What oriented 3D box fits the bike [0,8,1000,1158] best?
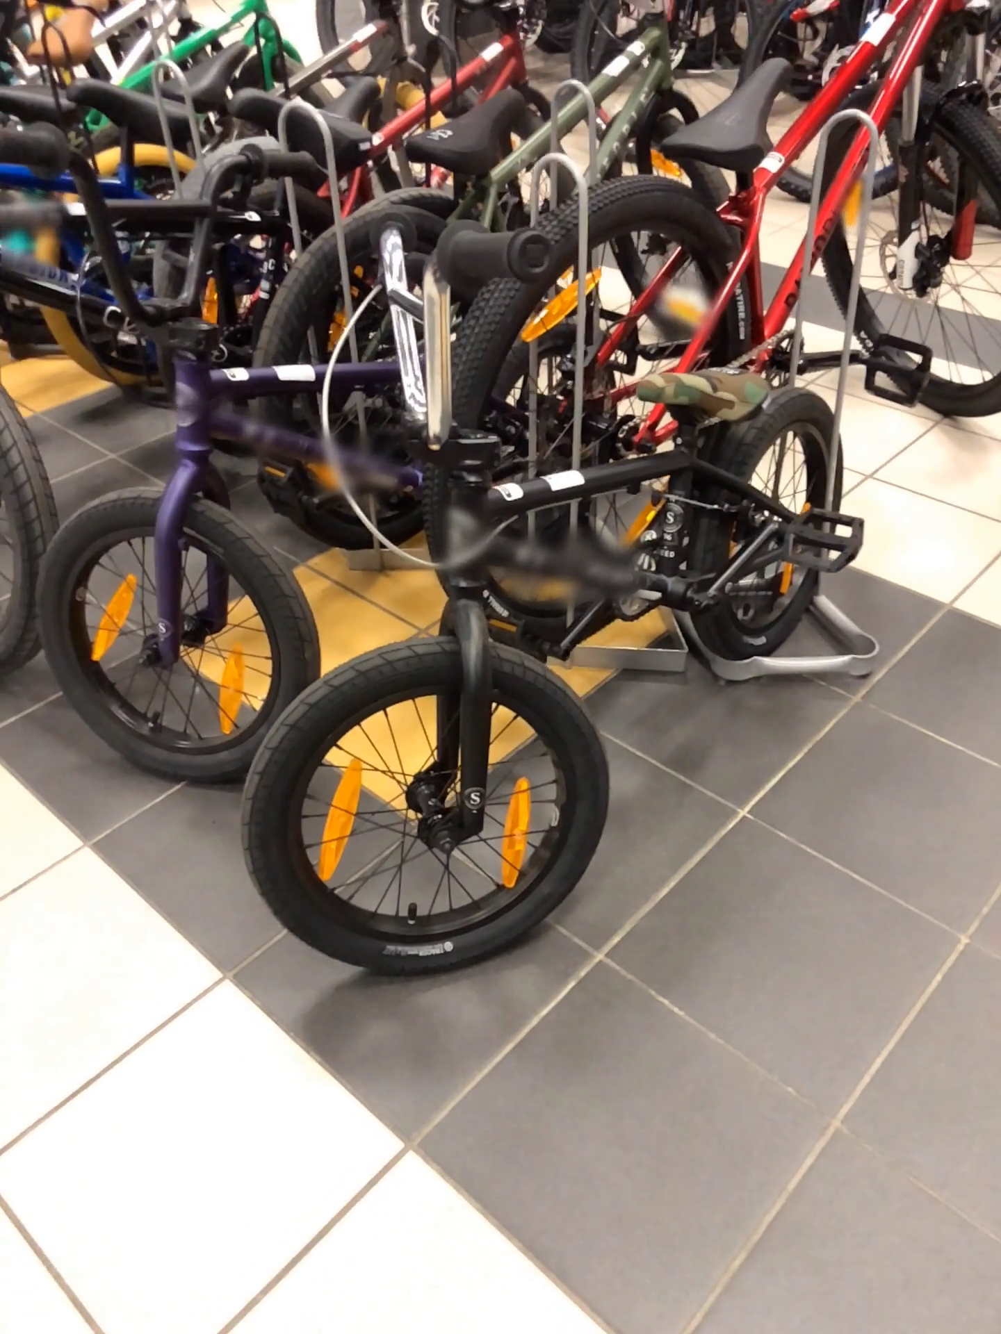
[{"bbox_3d":[0.144,-0.232,1.256,1.074,0.810,0.678,-30,46,-34],"label":"bike"}]
